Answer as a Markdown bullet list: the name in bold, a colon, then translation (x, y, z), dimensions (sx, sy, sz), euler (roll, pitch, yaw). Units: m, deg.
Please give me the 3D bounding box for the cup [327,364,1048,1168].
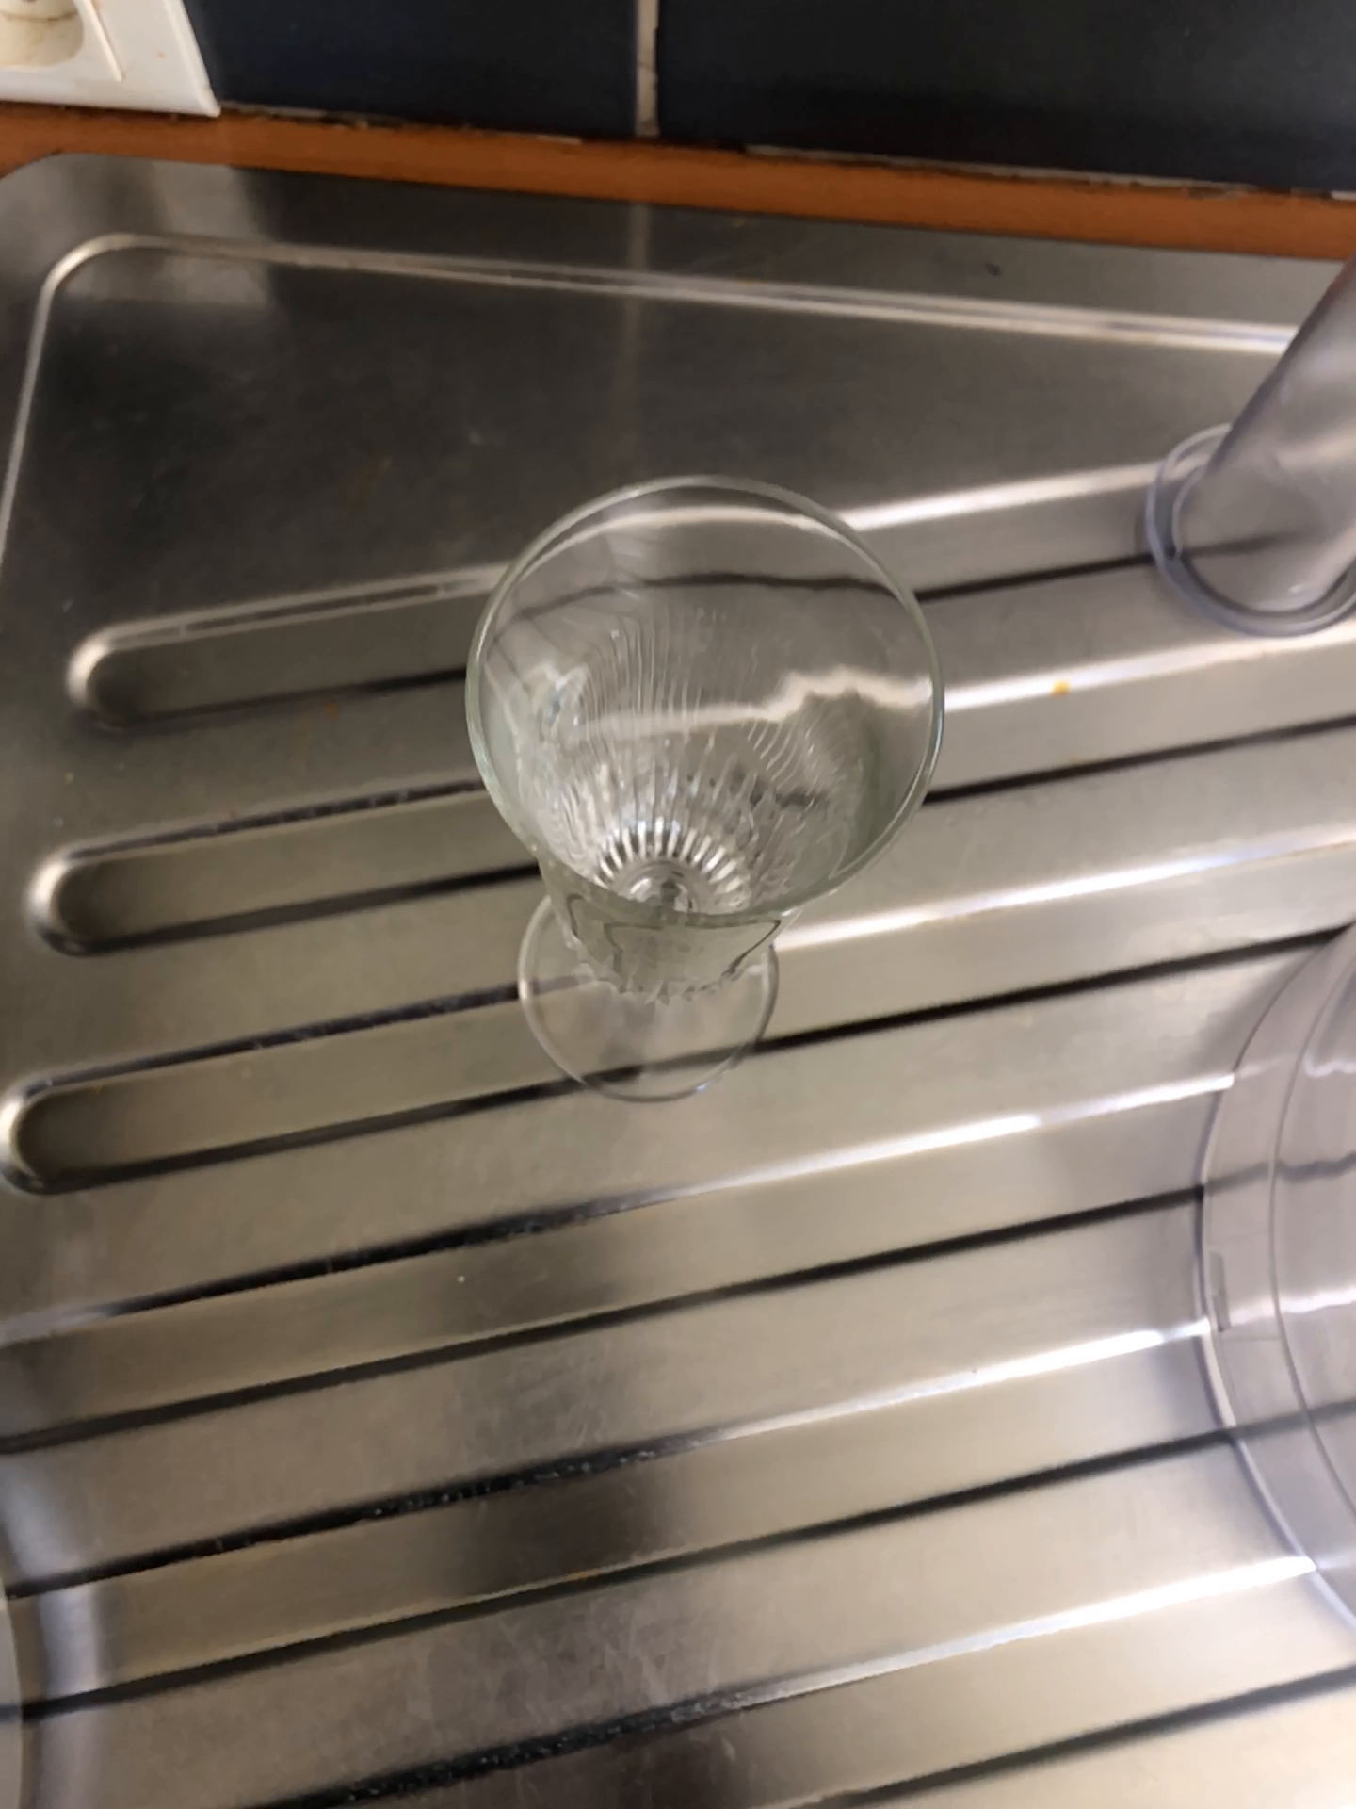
- **cup**: translation (-0.001, -0.005, 0.258), dimensions (0.060, 0.170, 0.060), euler (1, 75, -2)
